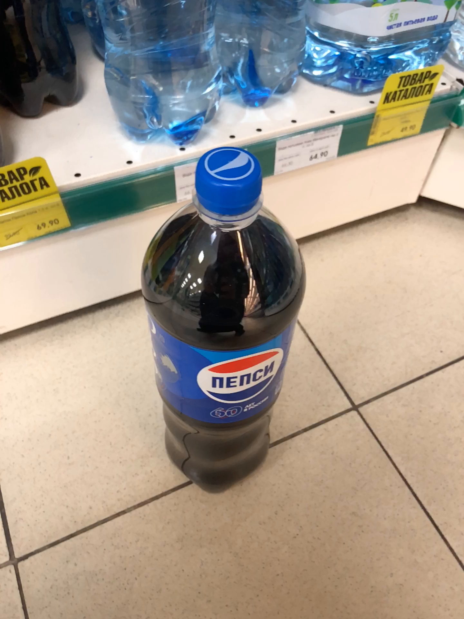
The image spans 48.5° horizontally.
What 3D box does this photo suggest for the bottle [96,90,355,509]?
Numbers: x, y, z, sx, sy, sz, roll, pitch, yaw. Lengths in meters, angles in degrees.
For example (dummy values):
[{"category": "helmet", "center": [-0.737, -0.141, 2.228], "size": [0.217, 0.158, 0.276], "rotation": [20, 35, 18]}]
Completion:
[{"category": "bottle", "center": [-0.011, 0.030, 0.350], "size": [0.089, 0.315, 0.085], "rotation": [1, 52, -1]}]
